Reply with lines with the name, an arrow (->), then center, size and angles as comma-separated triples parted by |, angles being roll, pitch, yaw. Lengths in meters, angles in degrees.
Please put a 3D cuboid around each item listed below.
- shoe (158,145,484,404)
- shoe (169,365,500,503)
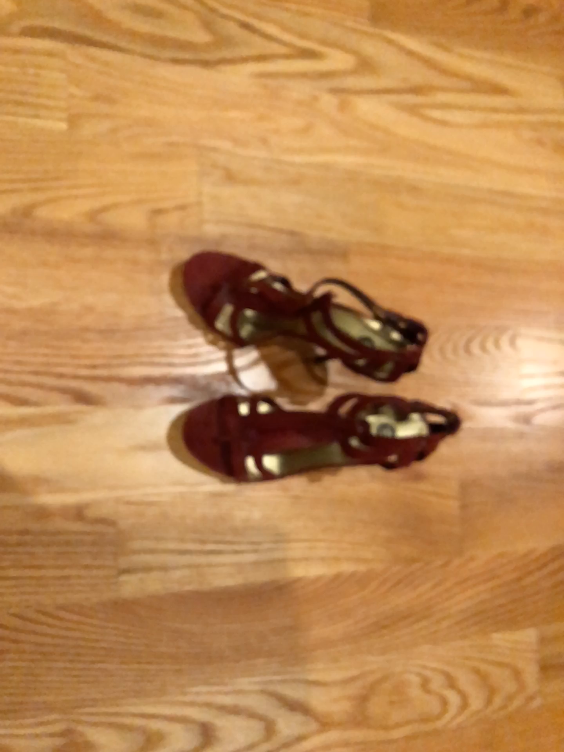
shoe -> 0.022, -0.064, 0.528 | 0.199, 0.176, 0.085 | 28, 75, -16
shoe -> 0.030, 0.045, 0.514 | 0.207, 0.176, 0.085 | 0, 84, -21
